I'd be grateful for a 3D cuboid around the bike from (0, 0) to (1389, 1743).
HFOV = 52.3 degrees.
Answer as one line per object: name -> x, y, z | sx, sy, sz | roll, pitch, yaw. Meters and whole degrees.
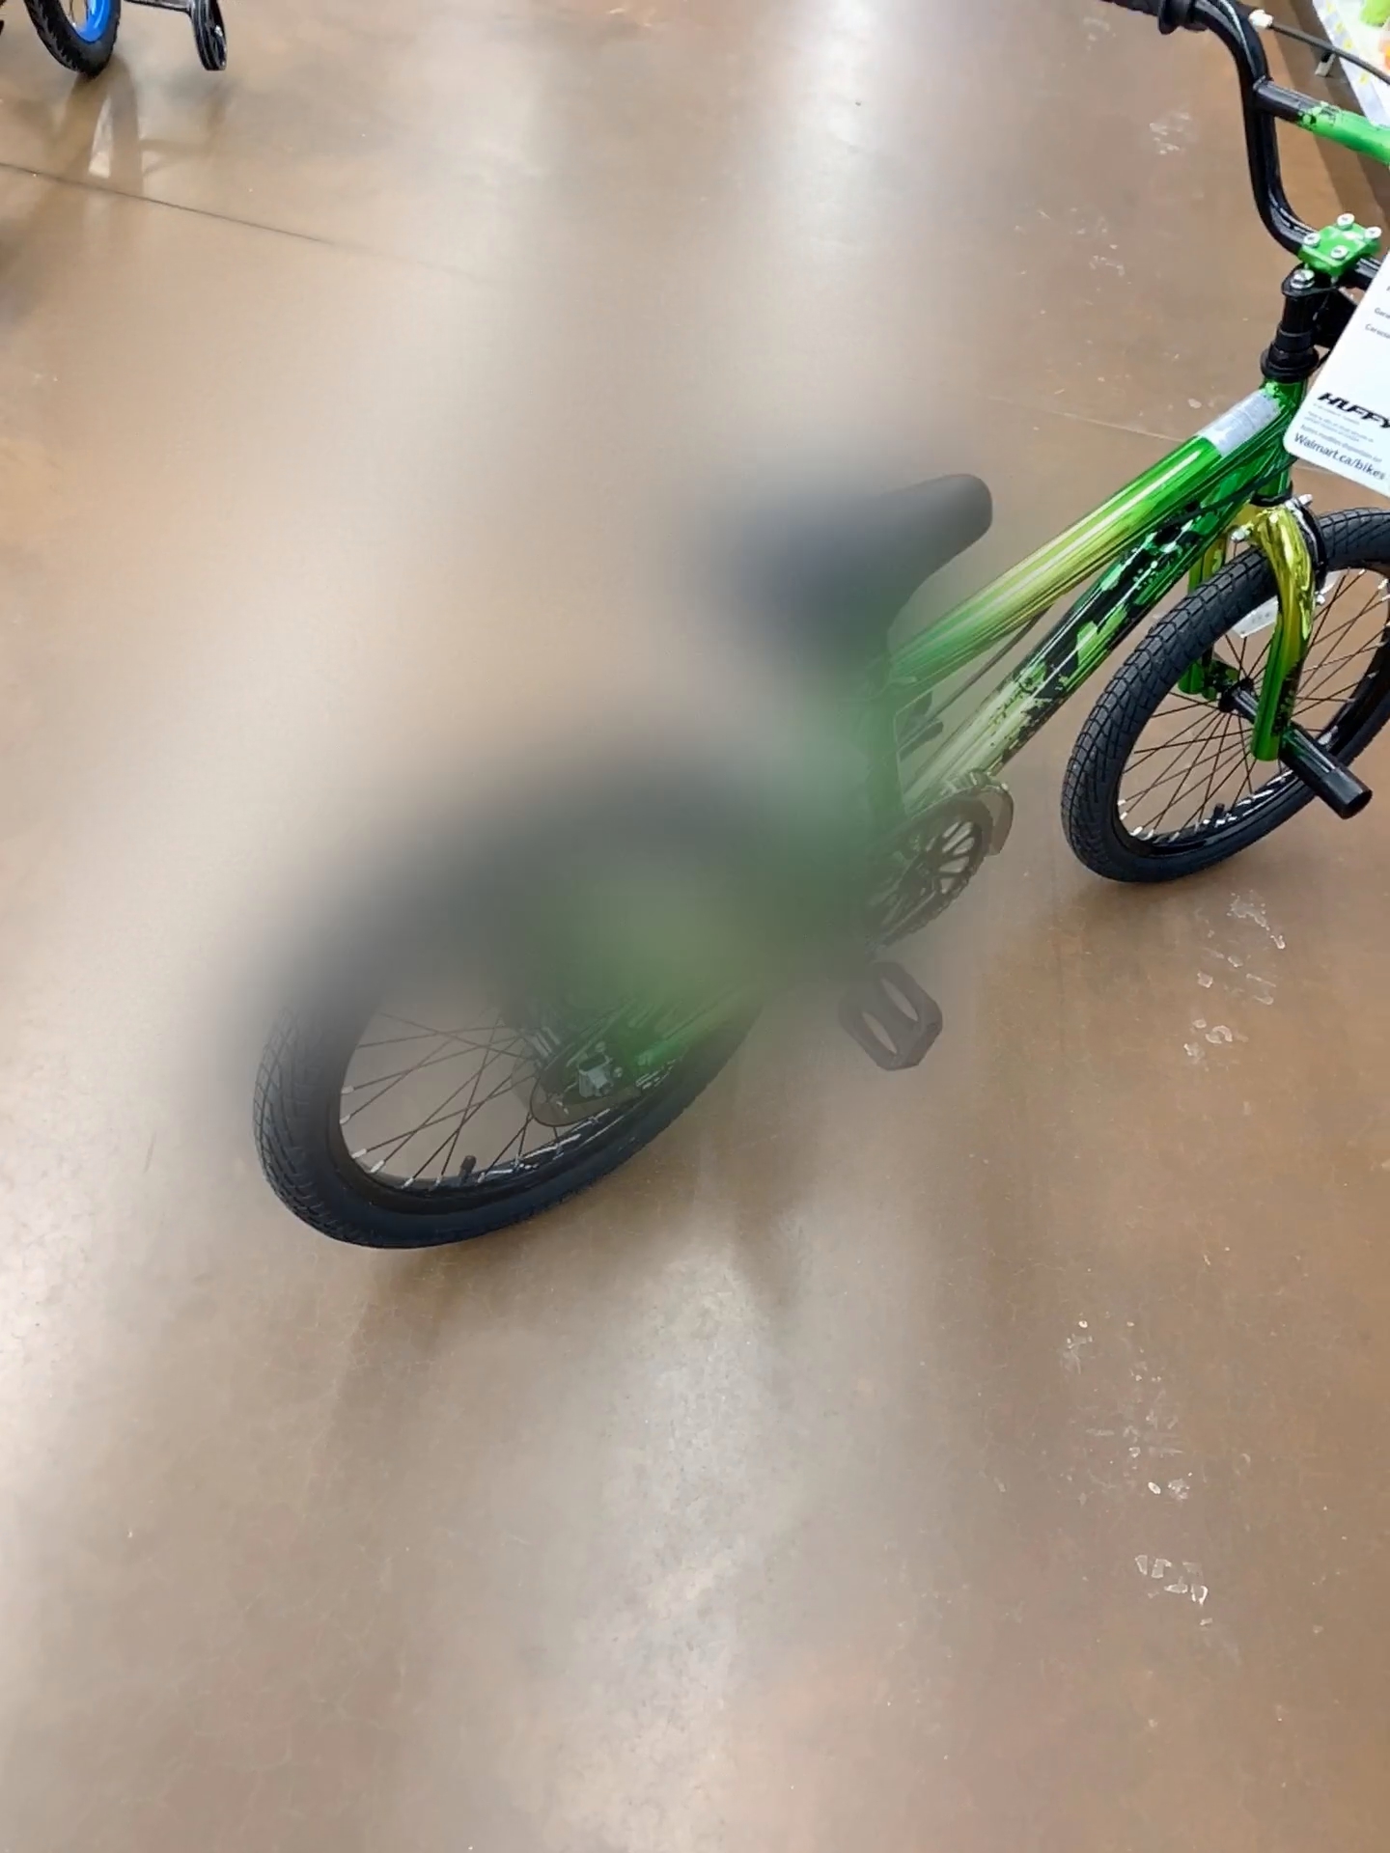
bike -> 0.402, -0.194, 1.123 | 1.408, 1.035, 0.718 | -24, 58, -22
